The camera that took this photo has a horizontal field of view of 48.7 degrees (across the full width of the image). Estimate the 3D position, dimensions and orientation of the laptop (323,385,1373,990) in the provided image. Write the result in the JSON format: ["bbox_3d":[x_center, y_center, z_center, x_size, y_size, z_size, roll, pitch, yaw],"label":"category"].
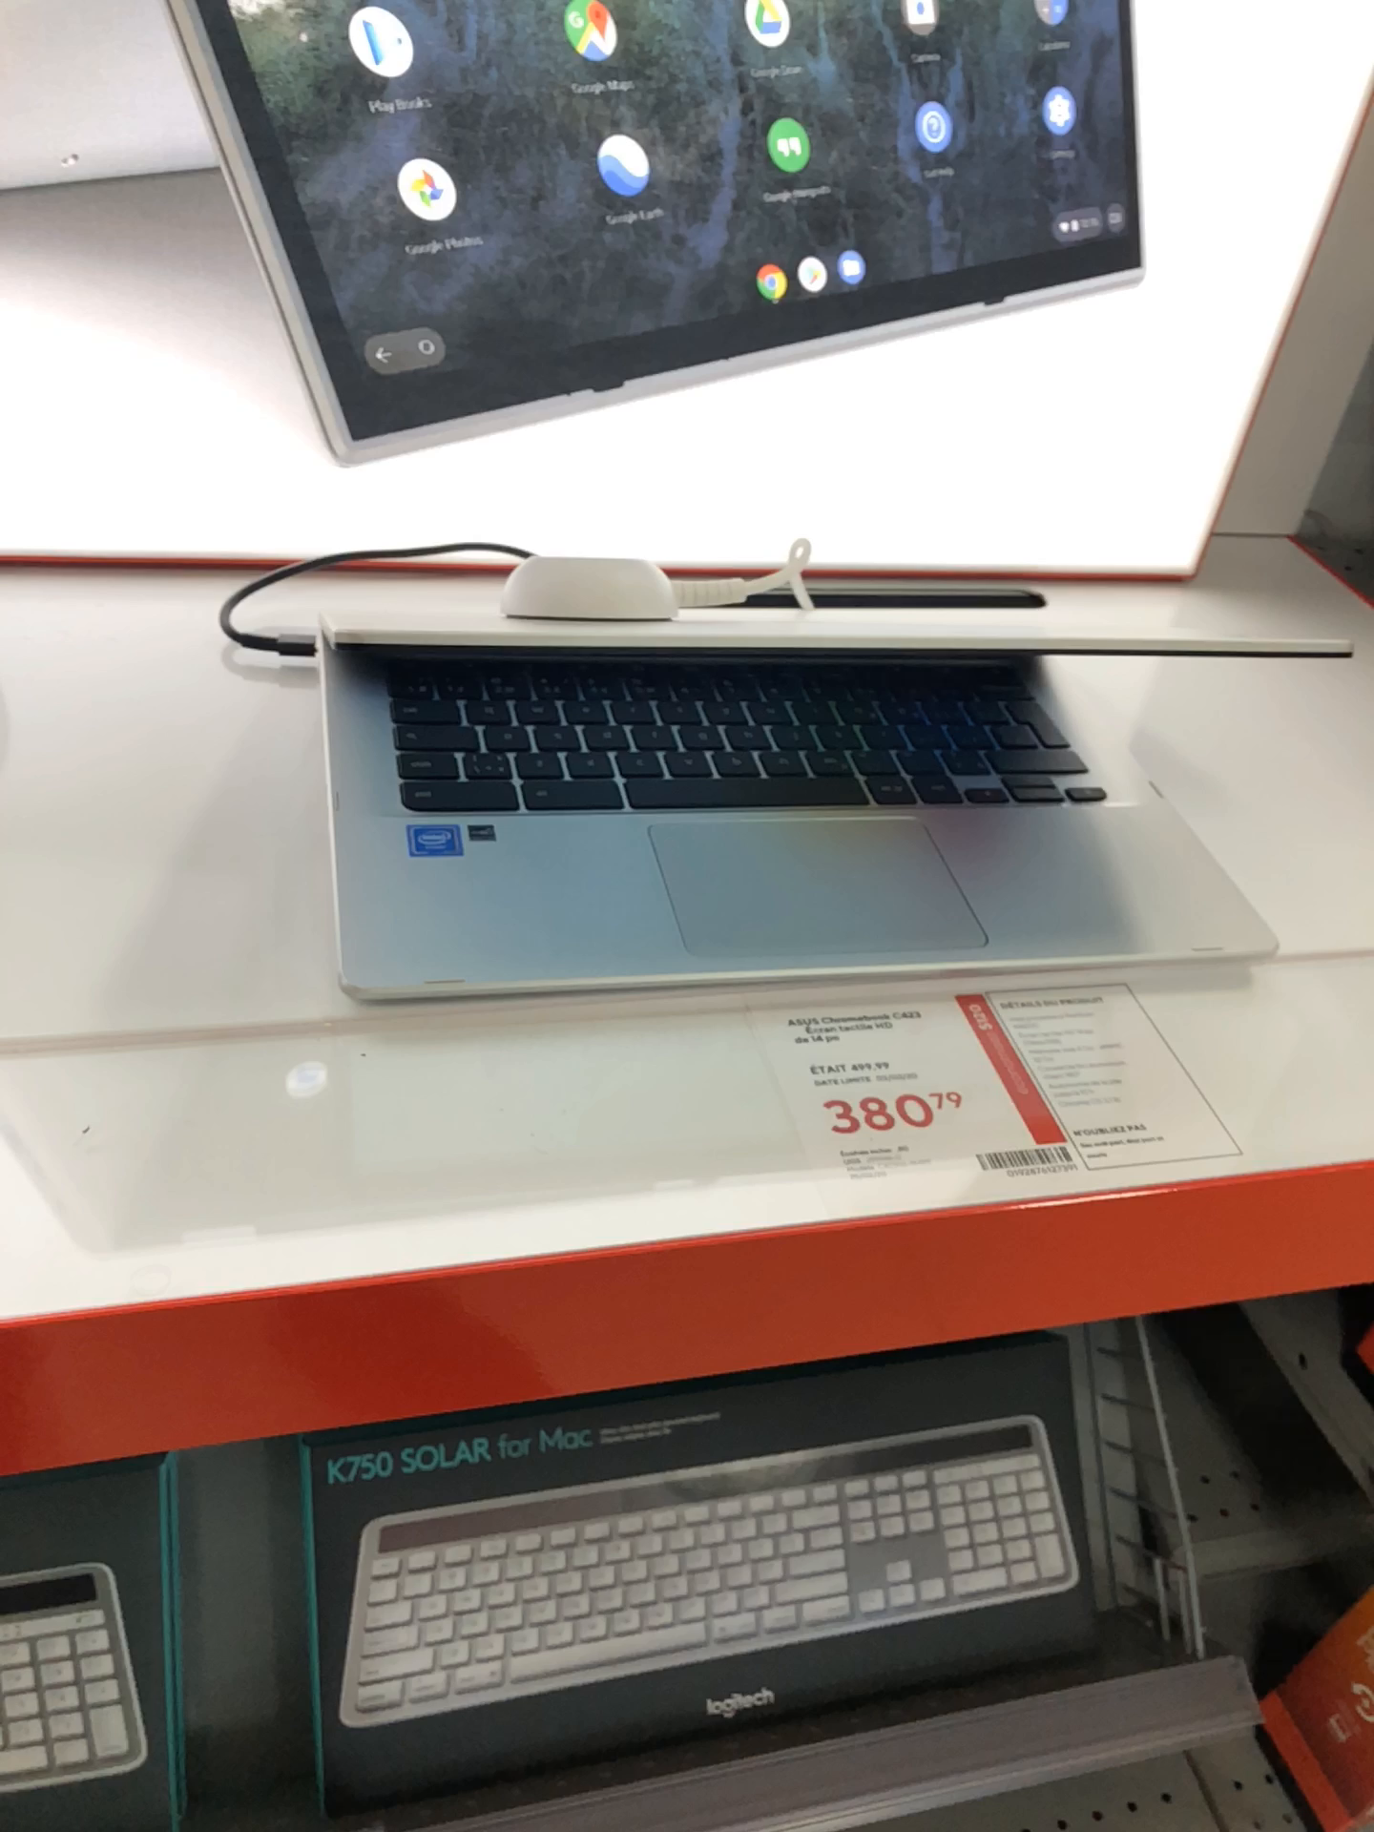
[{"bbox_3d":[0.036,-0.092,0.543,0.317,0.100,0.226,-2,38,-15],"label":"laptop"}]
